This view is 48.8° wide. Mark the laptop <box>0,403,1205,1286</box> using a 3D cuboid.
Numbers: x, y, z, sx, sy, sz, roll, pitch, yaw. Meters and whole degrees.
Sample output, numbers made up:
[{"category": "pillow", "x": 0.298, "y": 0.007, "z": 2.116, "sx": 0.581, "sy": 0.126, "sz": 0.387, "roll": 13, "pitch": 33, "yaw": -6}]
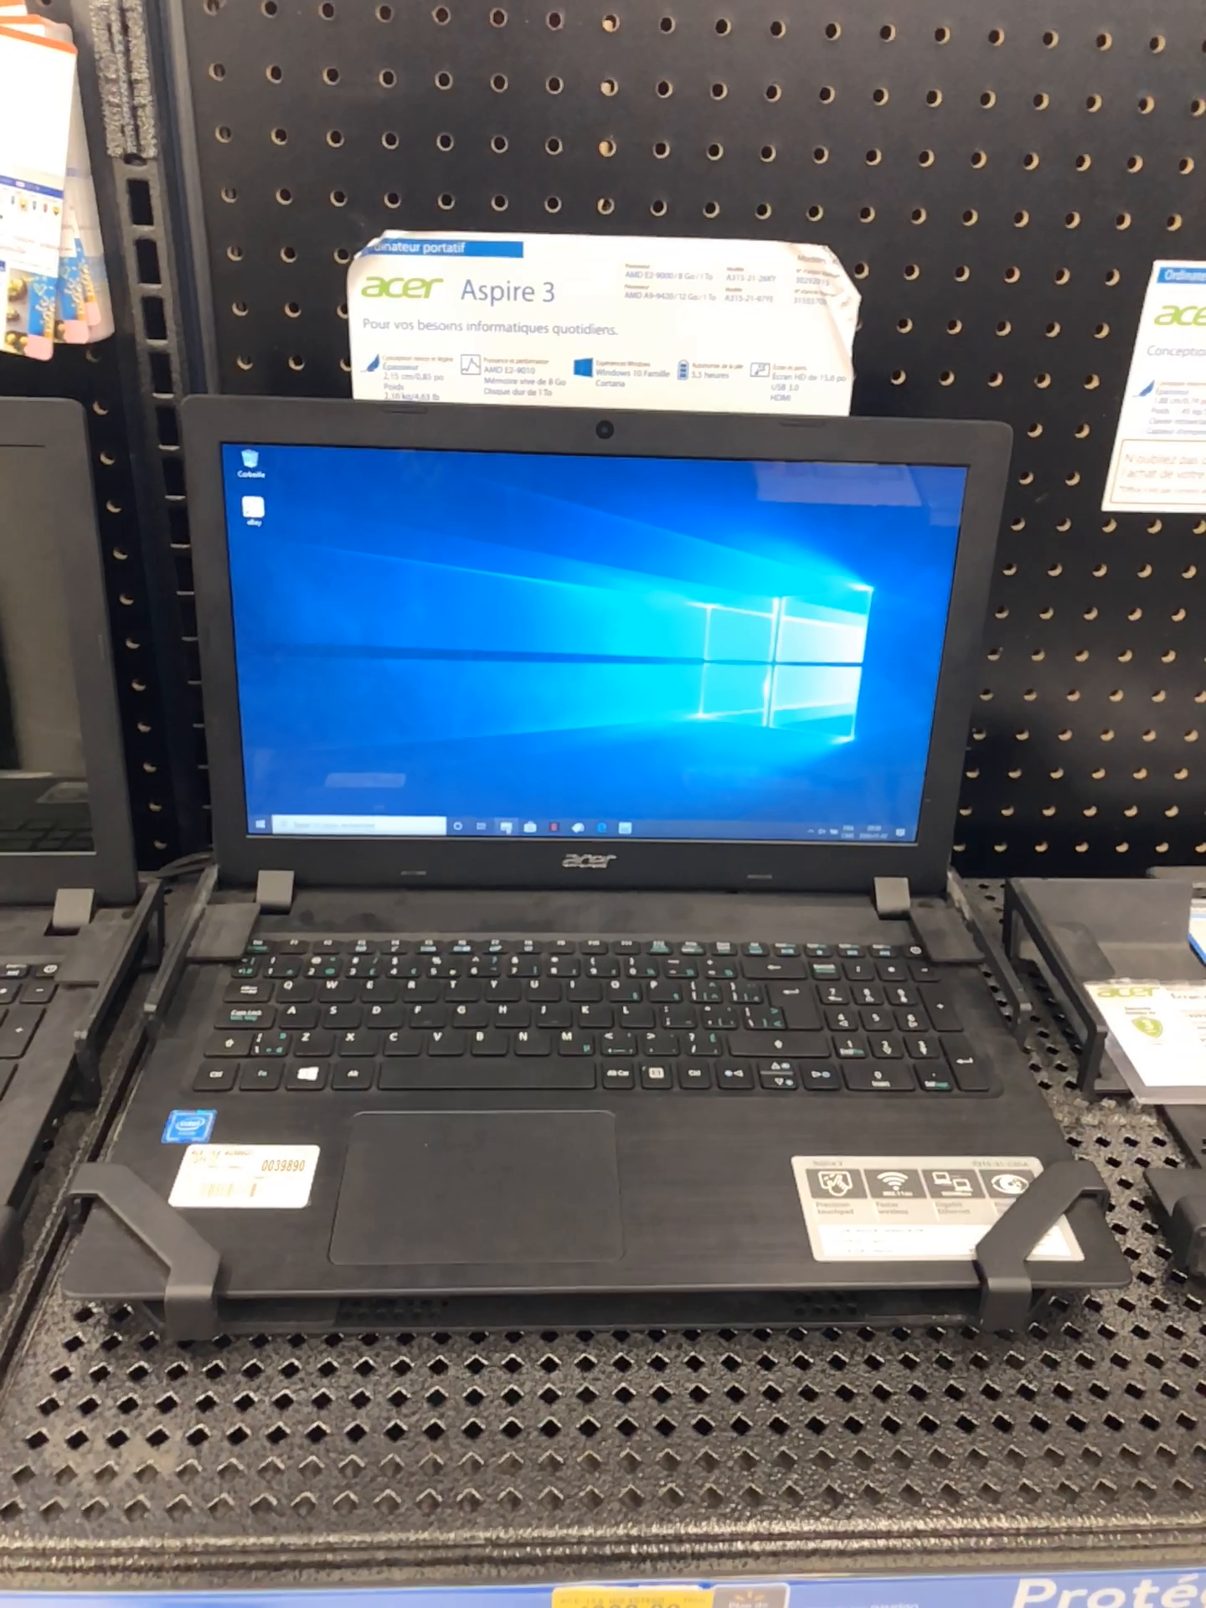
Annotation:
[{"category": "laptop", "x": -0.001, "y": -0.005, "z": 0.558, "sx": 0.386, "sy": 0.247, "sz": 0.296, "roll": 1, "pitch": 28, "yaw": -2}]
